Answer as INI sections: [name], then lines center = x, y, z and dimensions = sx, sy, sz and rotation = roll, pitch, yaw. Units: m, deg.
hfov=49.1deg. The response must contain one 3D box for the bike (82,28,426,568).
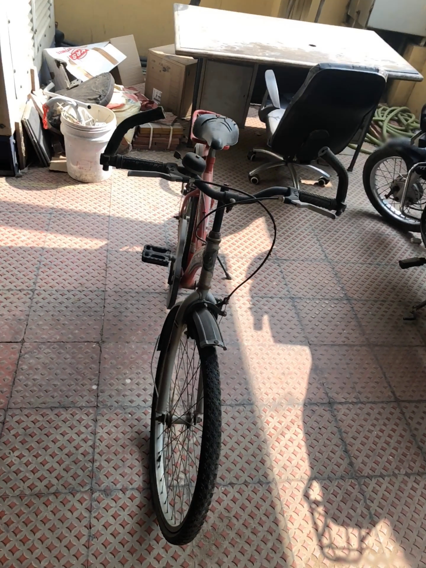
[bike]
center = 0.003, -0.099, 1.568
dimensions = 0.575, 0.963, 1.619
rotation = 6, 40, -8
